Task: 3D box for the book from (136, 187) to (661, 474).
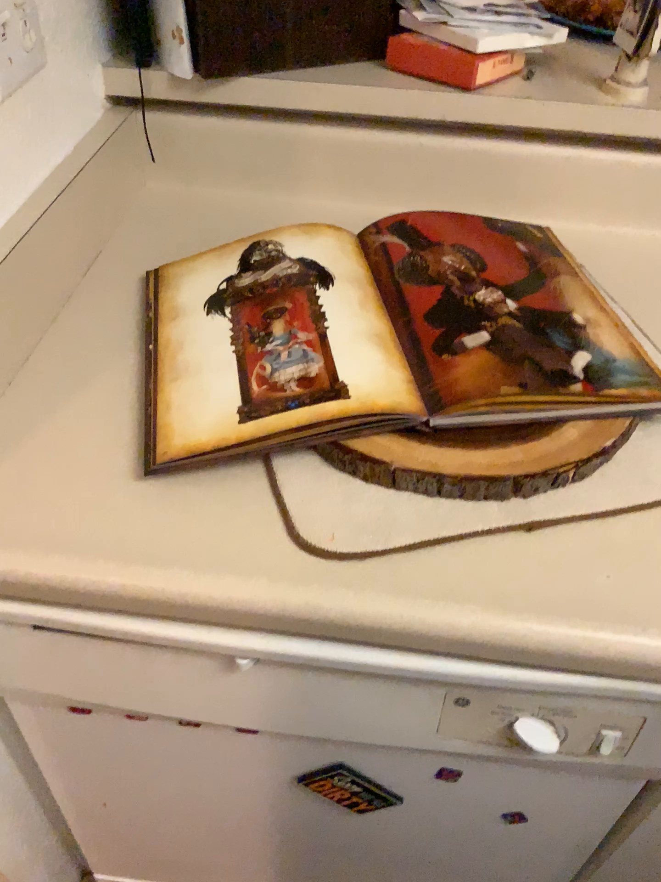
[{"bbox_3d":[0.058,-0.133,0.704,0.470,0.040,0.340,-7,45,-8],"label":"book"}]
